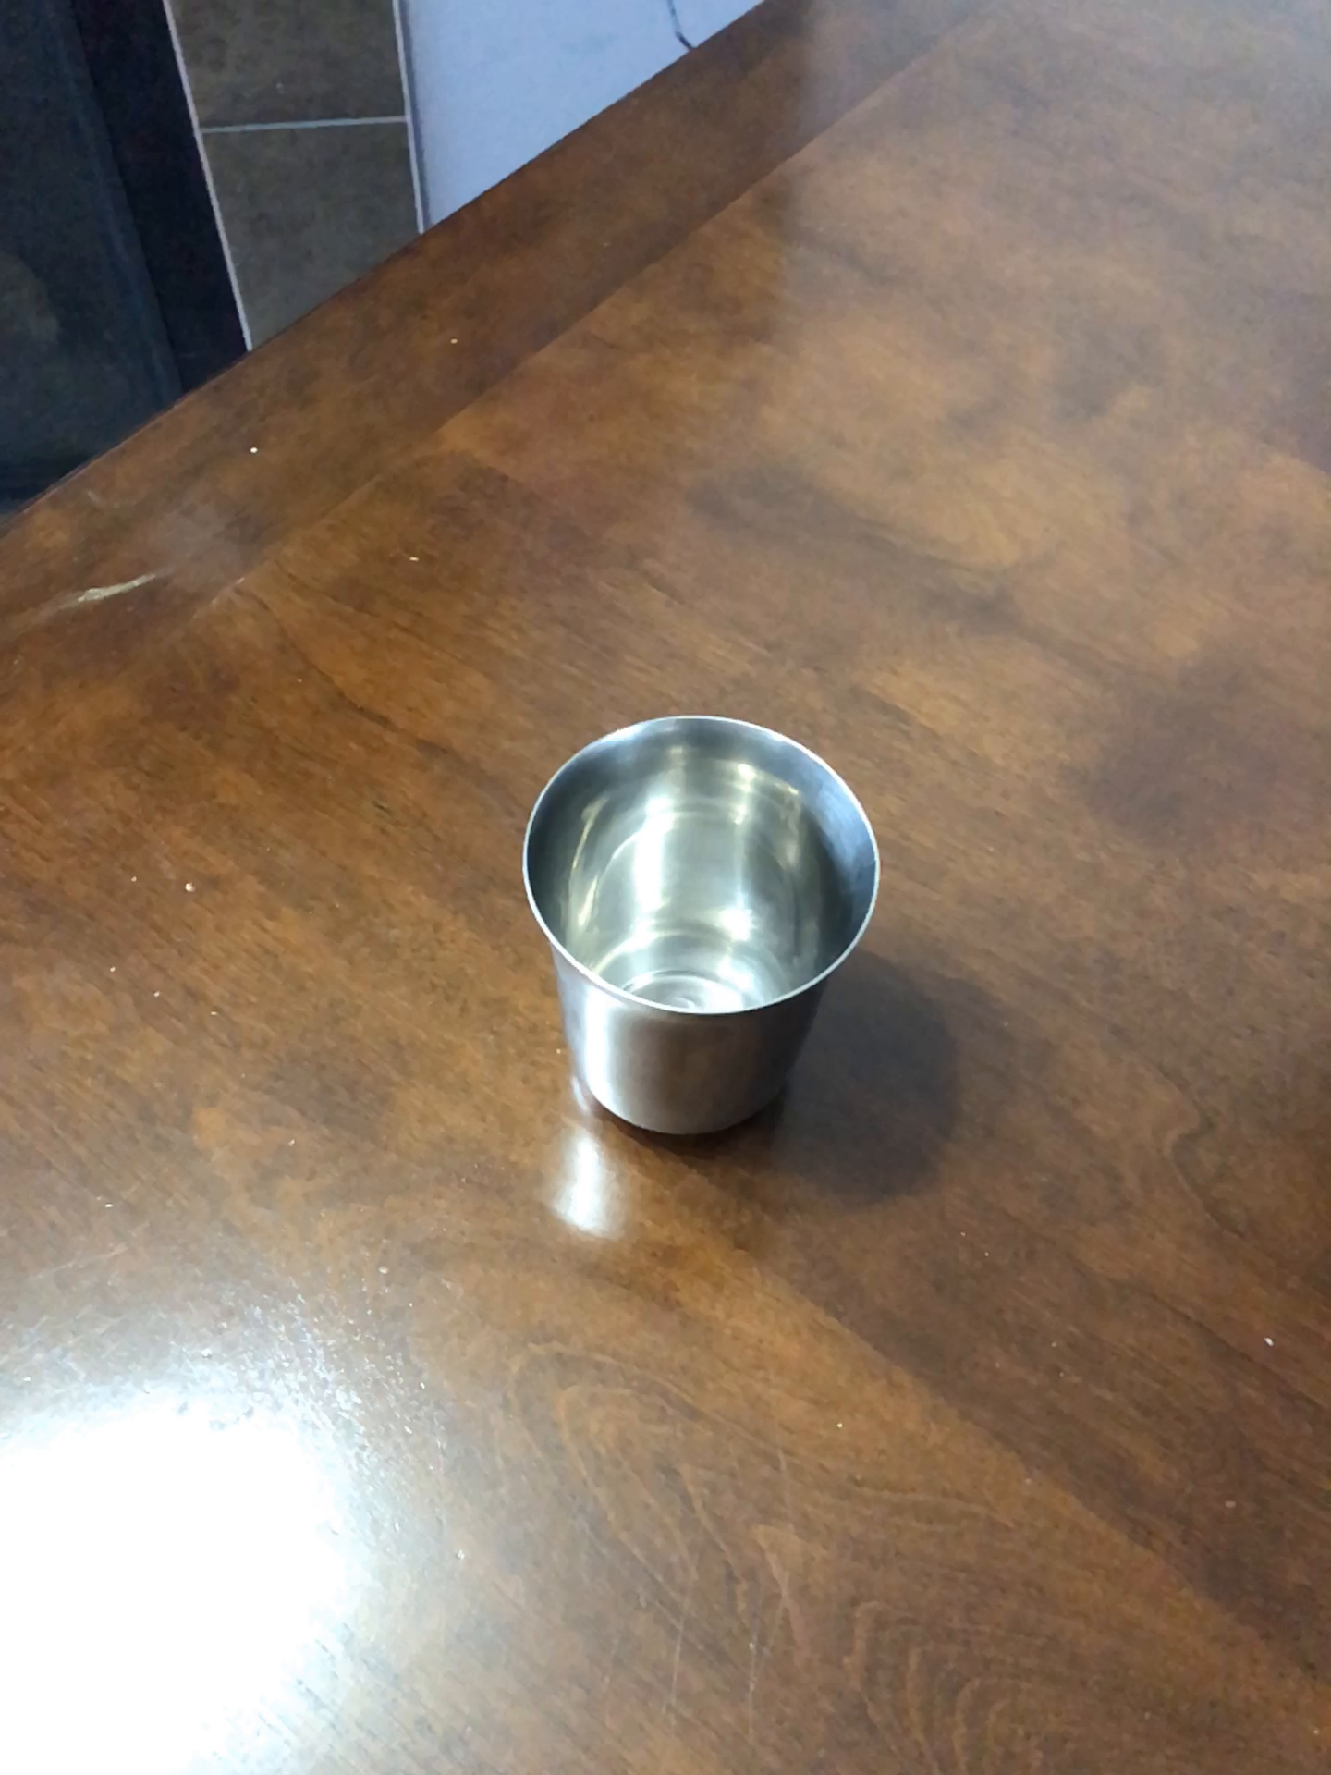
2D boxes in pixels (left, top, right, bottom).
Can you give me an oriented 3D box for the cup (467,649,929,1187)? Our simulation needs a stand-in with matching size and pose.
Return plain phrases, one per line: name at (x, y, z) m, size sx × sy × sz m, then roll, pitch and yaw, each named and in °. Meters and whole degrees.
cup at (0.008, 0.009, 0.355) m, size 0.080 × 0.080 × 0.080 m, roll 1°, pitch 57°, yaw -2°
